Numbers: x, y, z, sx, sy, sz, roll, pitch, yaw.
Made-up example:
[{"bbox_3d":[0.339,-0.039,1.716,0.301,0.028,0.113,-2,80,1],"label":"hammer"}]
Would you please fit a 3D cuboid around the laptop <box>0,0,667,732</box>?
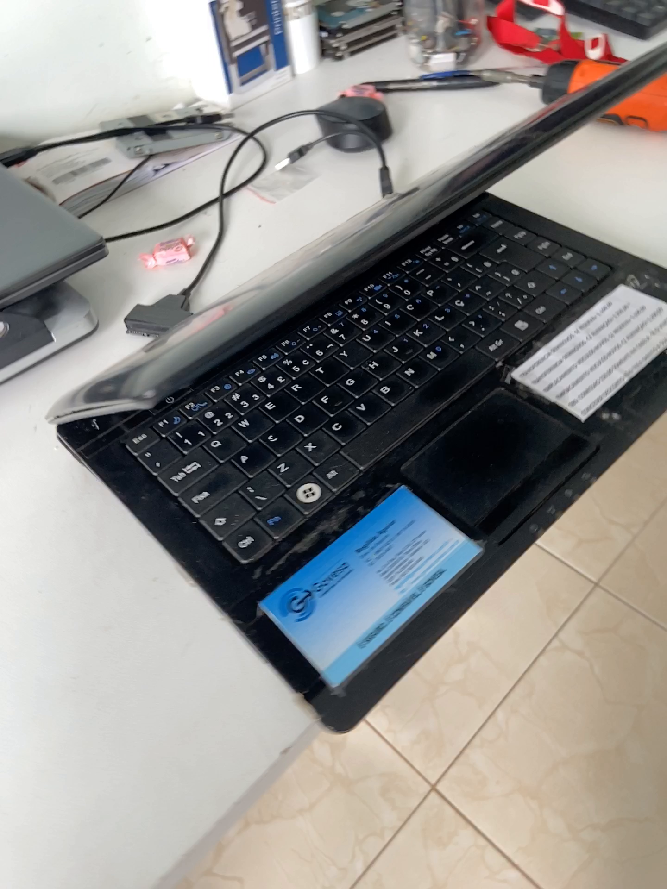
[{"bbox_3d":[0.039,-0.089,0.337,0.336,0.144,0.228,-38,55,-23],"label":"laptop"}]
